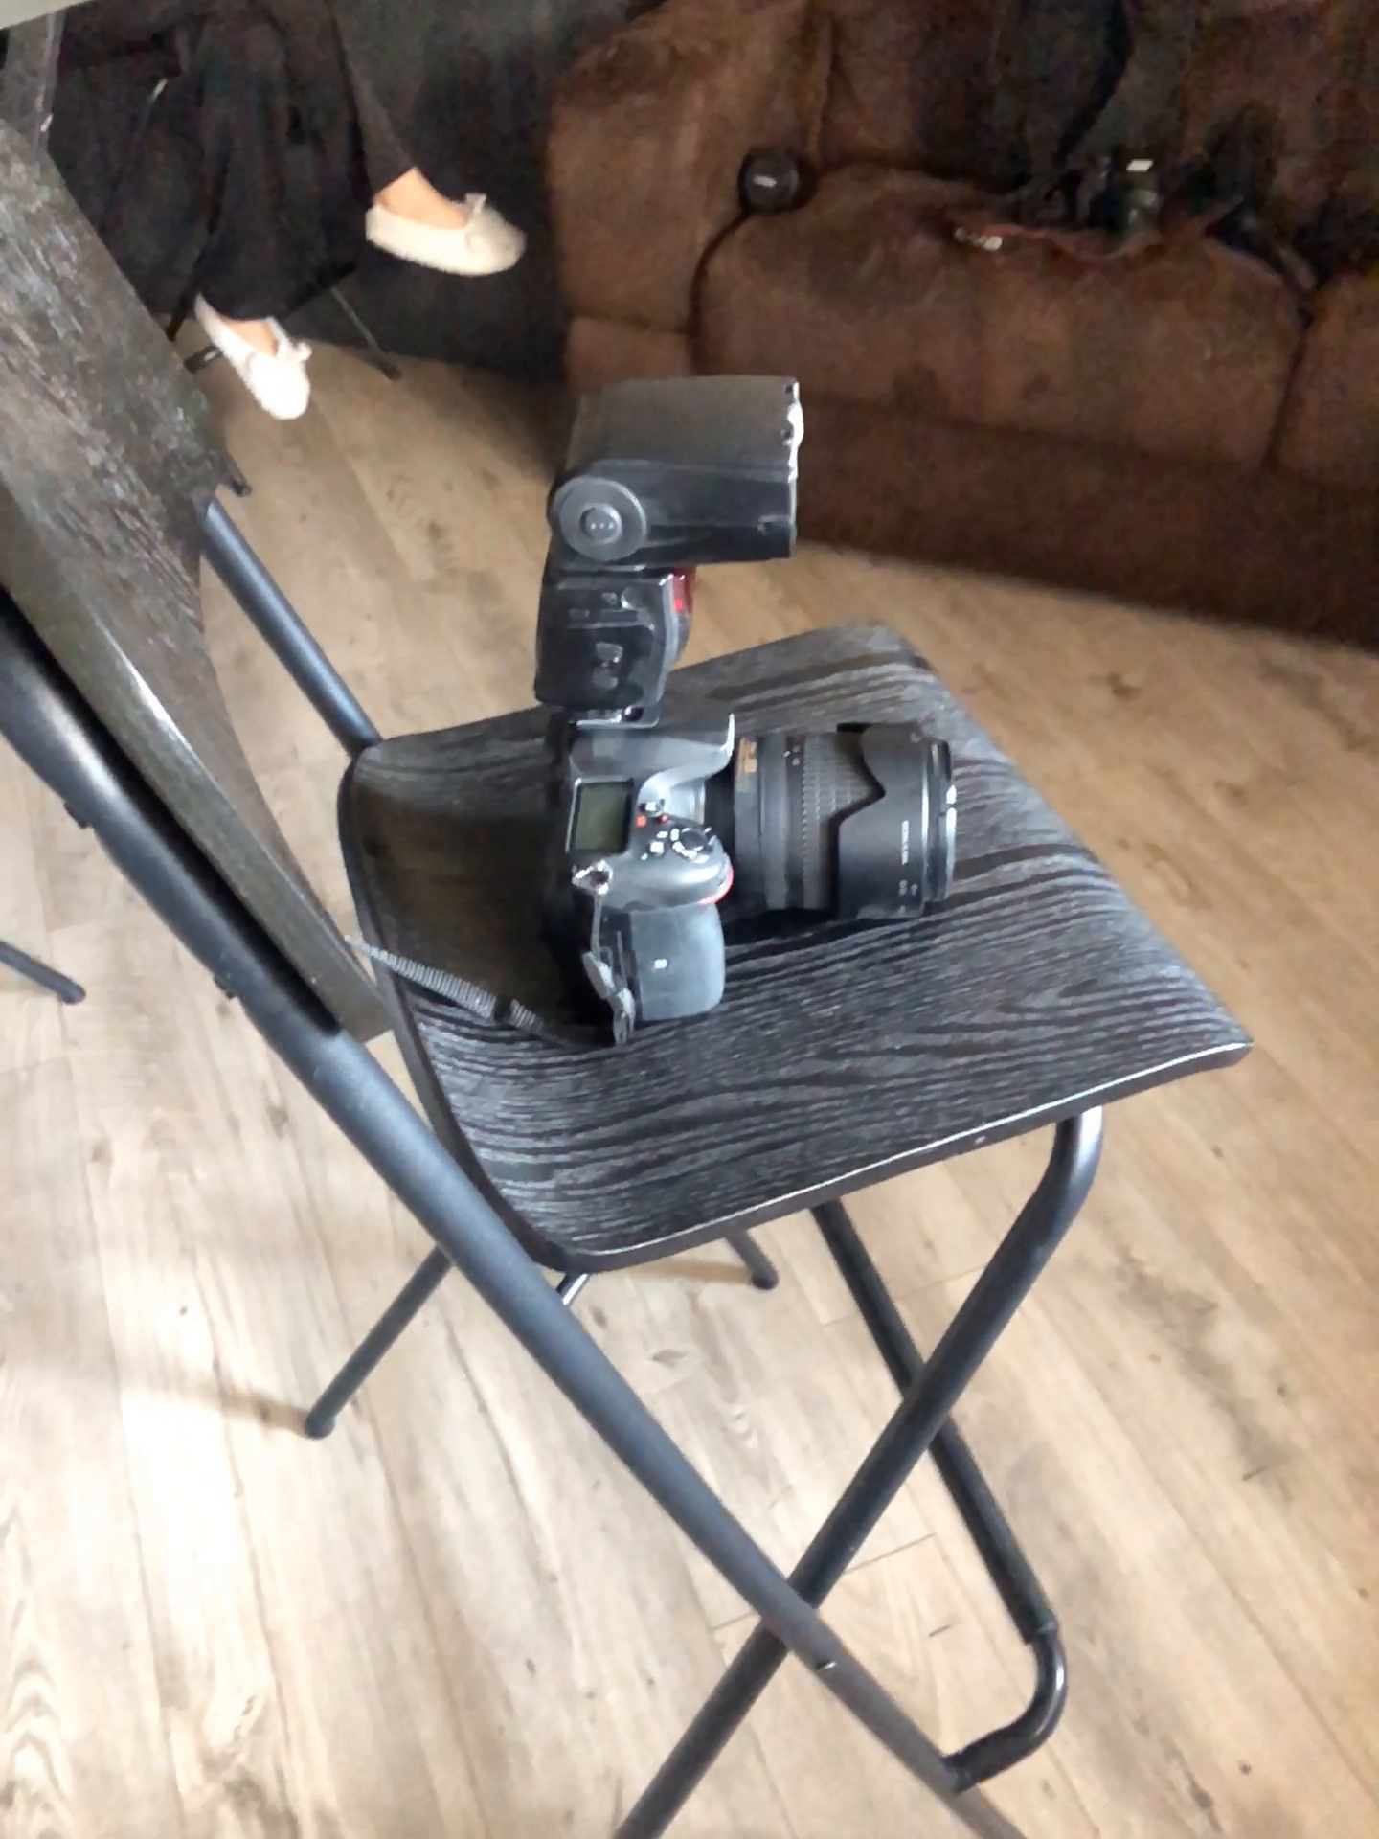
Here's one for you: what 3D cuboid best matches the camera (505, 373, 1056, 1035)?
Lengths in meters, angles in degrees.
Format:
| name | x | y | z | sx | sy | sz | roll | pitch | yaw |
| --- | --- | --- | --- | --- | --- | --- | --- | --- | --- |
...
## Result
| name | x | y | z | sx | sy | sz | roll | pitch | yaw |
| --- | --- | --- | --- | --- | --- | --- | --- | --- | --- |
| camera | 0.028 | -0.075 | 0.581 | 0.167 | 0.217 | 0.126 | 1 | 45 | 0 |
